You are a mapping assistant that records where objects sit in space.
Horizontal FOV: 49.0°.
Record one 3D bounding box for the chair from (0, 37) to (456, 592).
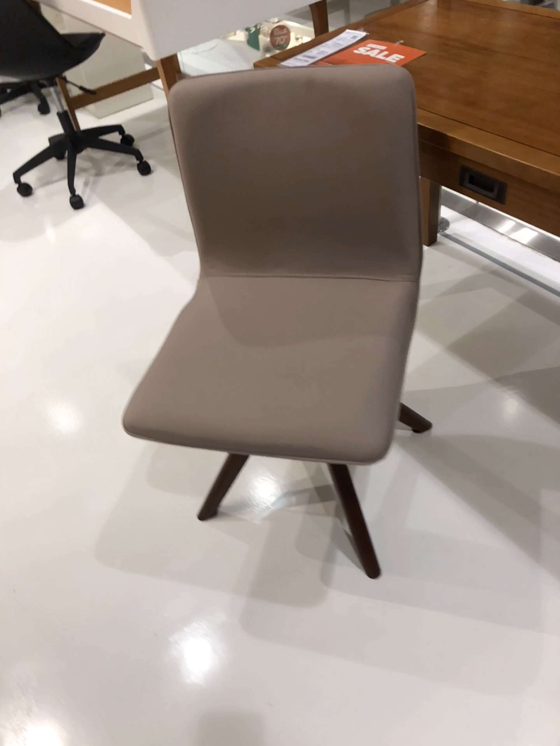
[{"bbox_3d":[0.019,-0.073,1.163,0.540,0.834,0.534,4,46,15],"label":"chair"}]
